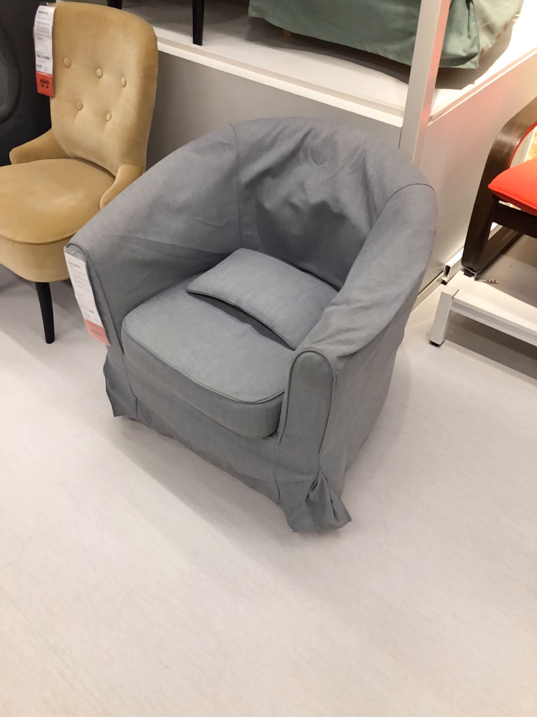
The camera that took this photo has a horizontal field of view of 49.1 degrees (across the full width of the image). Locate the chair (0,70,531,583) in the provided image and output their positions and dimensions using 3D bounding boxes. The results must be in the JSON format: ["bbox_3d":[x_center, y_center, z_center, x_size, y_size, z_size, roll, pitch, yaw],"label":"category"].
[{"bbox_3d":[0.002,-0.130,1.522,0.873,0.795,0.723,28,52,26],"label":"chair"}]
